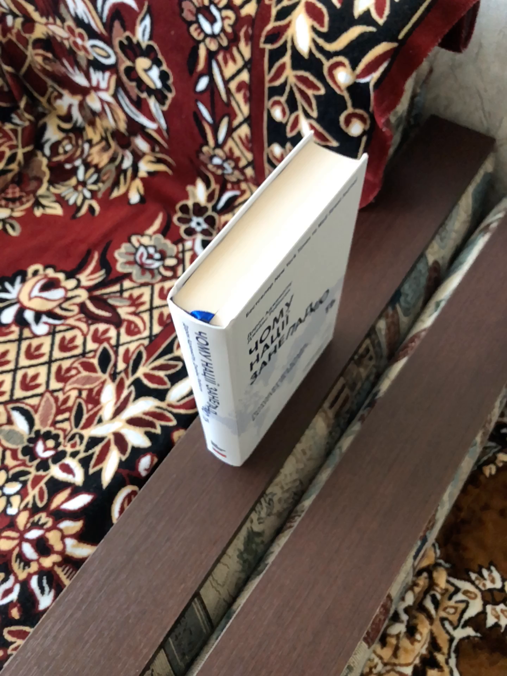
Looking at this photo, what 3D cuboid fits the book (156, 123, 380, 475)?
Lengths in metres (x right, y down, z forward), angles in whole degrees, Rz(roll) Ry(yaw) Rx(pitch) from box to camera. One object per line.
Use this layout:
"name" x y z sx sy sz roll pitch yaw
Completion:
"book" 0.015 -0.010 0.389 0.042 0.212 0.151 30 65 18
